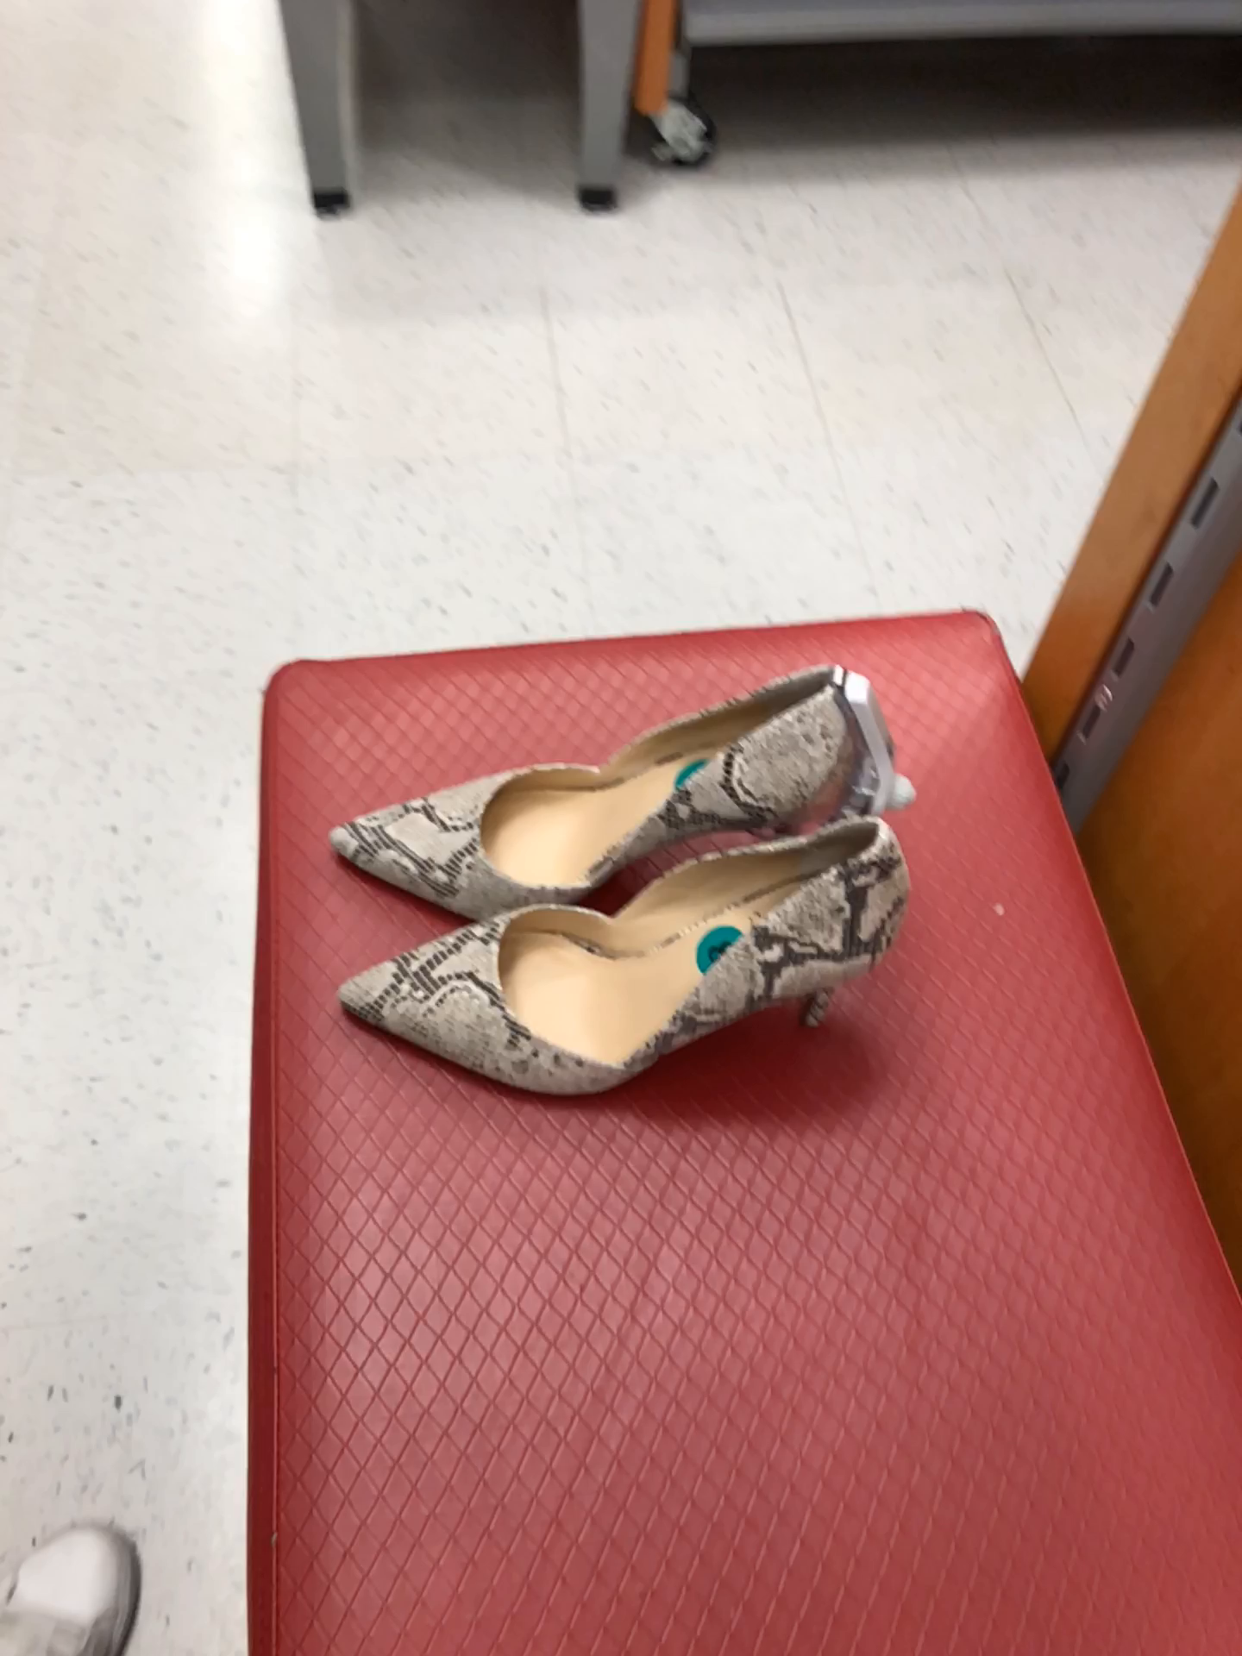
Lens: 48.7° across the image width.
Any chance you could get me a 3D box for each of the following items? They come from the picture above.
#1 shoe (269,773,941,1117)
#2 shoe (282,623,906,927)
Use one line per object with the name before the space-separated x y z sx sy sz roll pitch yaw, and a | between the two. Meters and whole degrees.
shoe | -0.006 0.053 0.597 0.259 0.102 0.093 4 56 0
shoe | -0.014 -0.022 0.649 0.262 0.112 0.092 0 56 -3
